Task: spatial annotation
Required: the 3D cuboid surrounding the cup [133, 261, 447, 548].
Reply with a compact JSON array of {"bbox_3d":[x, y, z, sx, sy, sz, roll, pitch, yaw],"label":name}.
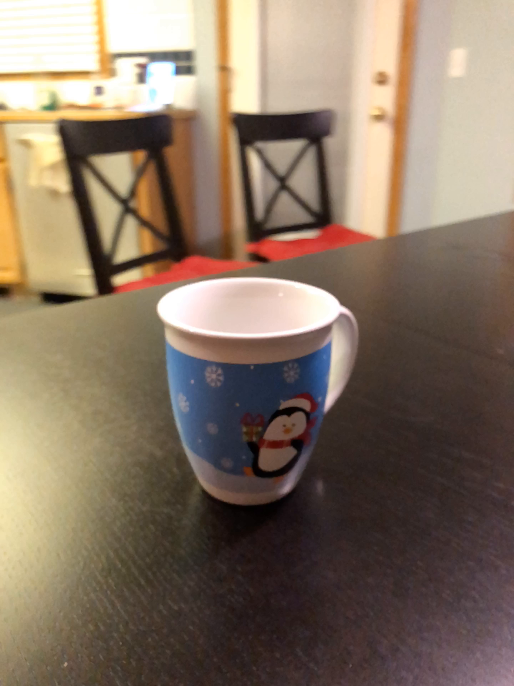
[{"bbox_3d":[0.018,0.021,0.336,0.140,0.100,0.100,-15,26,-32],"label":"cup"}]
